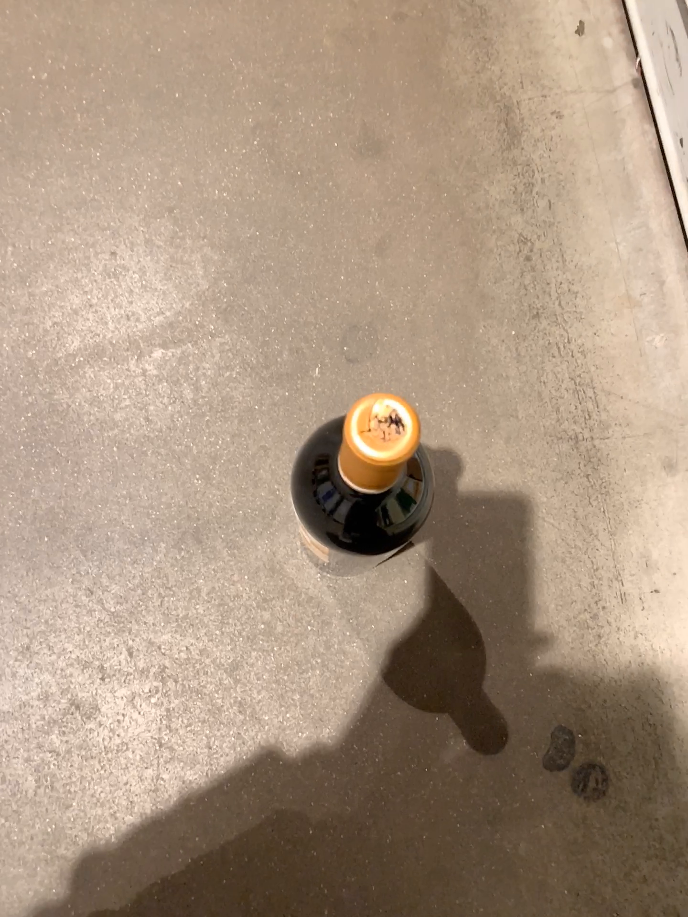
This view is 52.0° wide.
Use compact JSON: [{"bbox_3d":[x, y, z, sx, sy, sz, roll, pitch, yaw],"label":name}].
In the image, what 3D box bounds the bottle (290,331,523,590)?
[{"bbox_3d":[0.016,0.028,0.433,0.080,0.318,0.080,1,77,-3],"label":"bottle"}]
